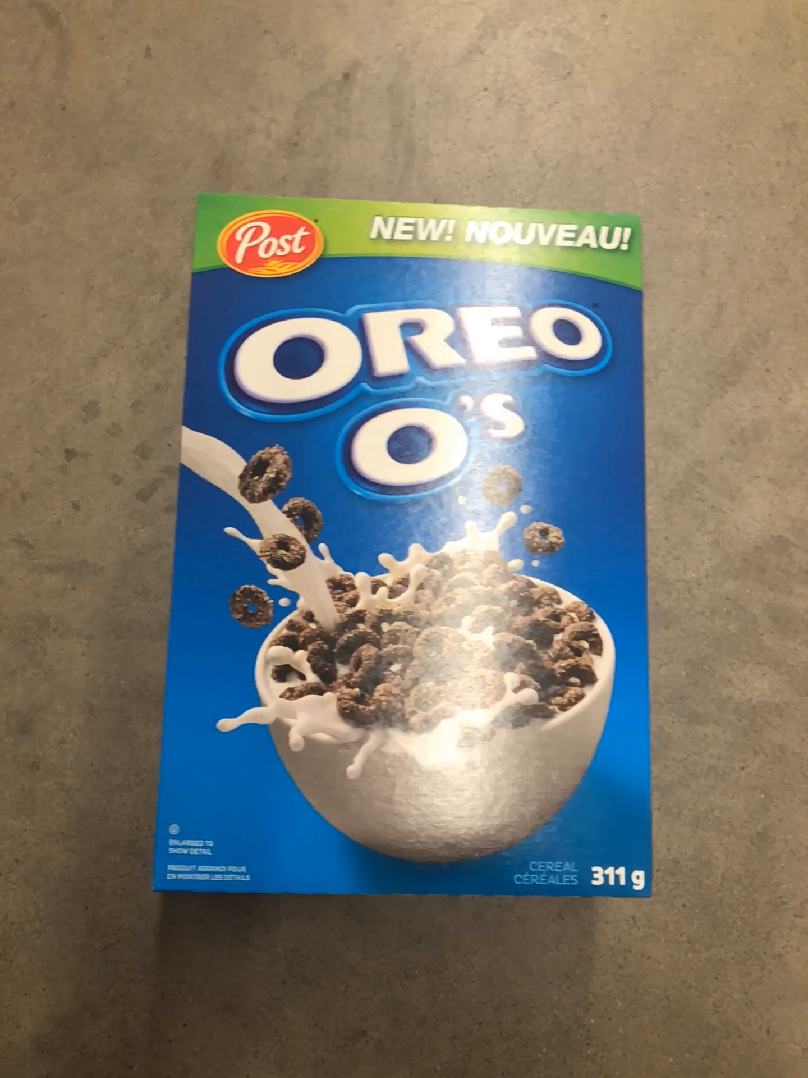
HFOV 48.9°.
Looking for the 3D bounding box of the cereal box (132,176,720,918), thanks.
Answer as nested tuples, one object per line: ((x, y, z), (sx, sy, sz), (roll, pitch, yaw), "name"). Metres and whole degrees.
((0.010, 0.001, 0.373), (0.210, 0.070, 0.280), (1, 81, -2), "cereal box")
